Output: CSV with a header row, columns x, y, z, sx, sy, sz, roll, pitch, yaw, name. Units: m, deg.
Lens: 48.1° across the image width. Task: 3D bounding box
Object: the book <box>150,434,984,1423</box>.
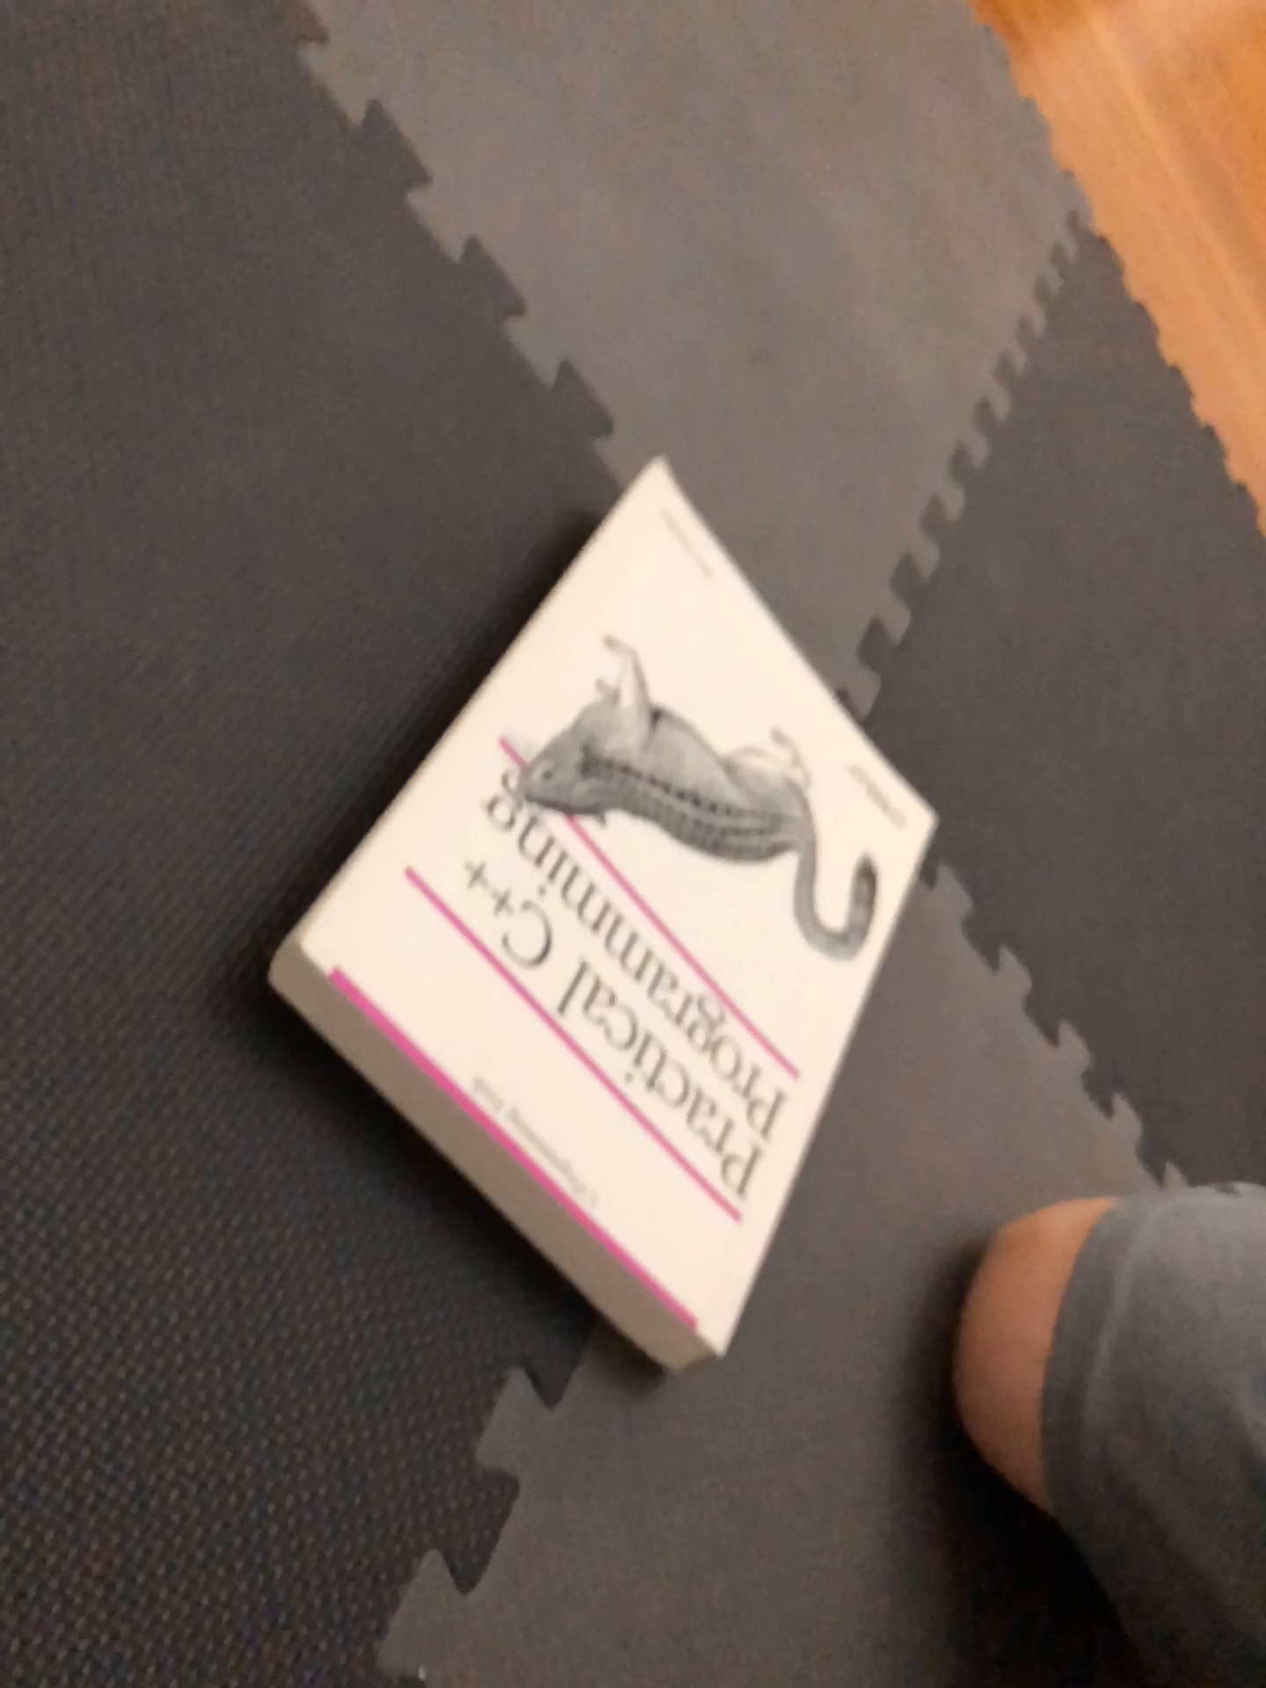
x,y,z,sx,sy,sz,roll,pitch,yaw,name
0.006,0.016,0.461,0.200,0.050,0.251,45,47,-17,book
